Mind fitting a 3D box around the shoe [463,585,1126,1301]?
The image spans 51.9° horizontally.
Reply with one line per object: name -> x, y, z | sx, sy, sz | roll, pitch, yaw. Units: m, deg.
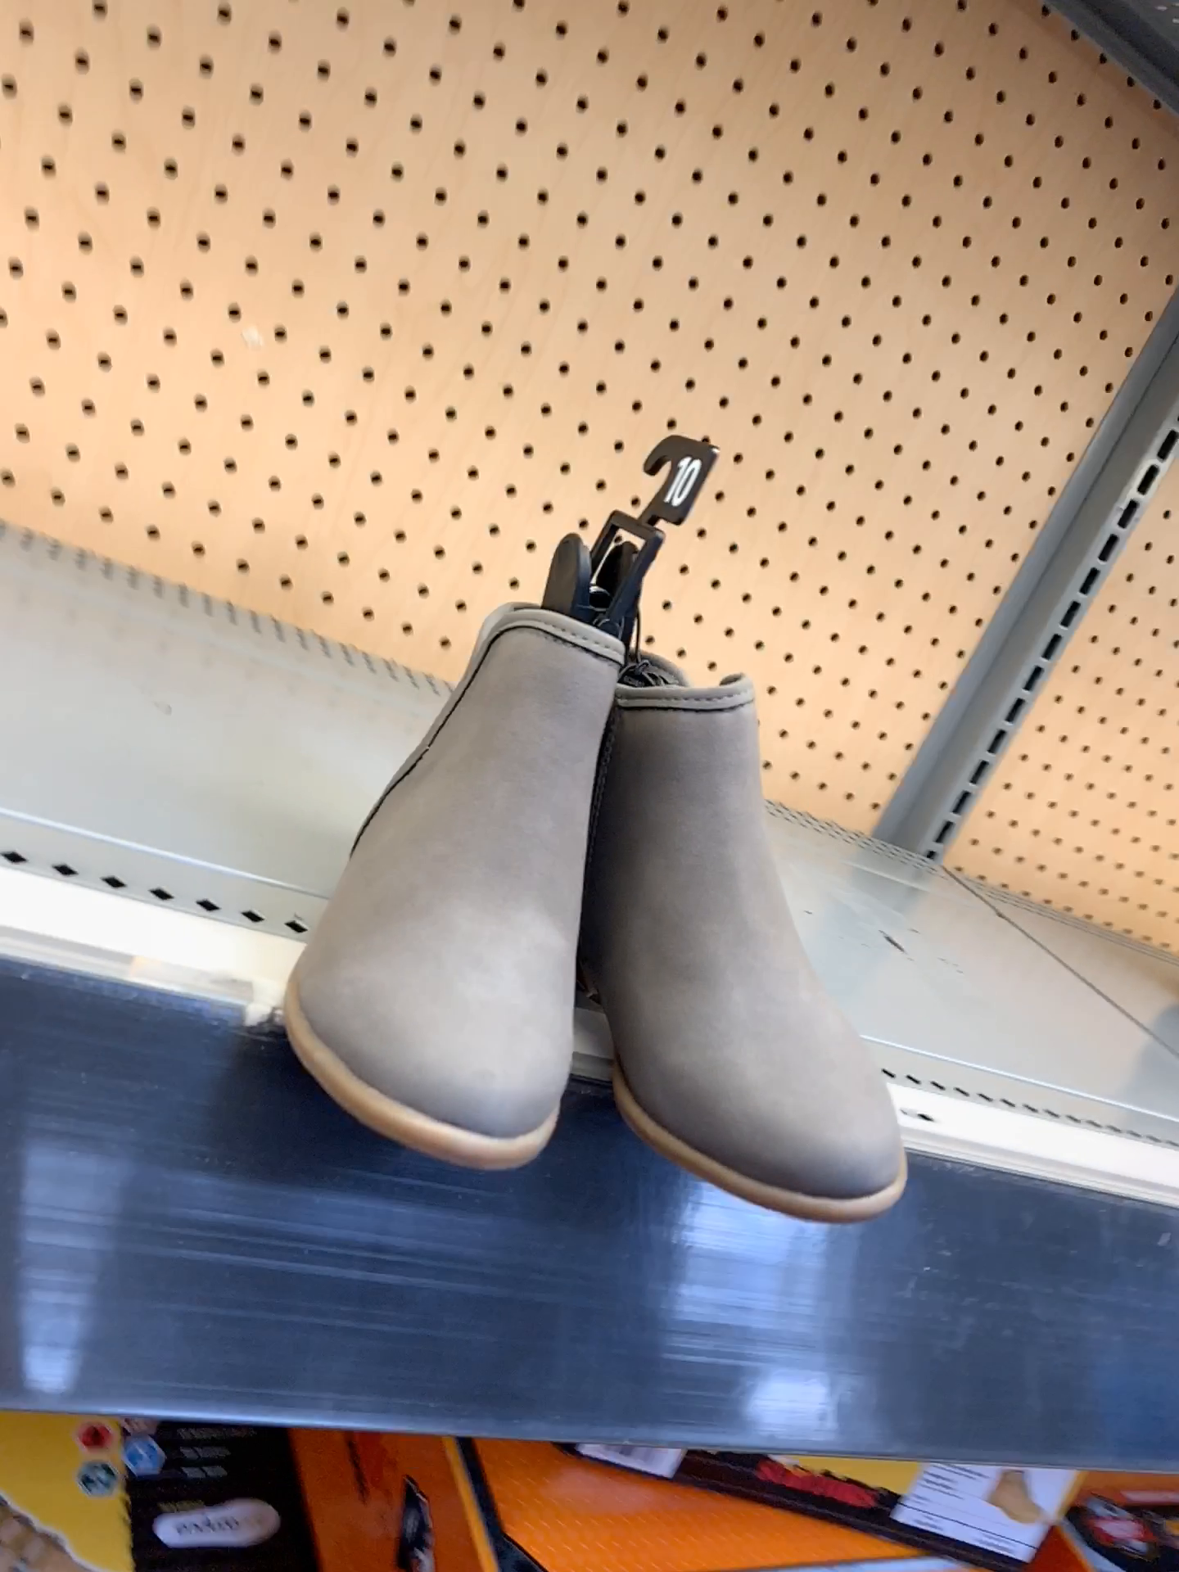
shoe -> 0.037, 0.026, 0.345 | 0.074, 0.113, 0.186 | 0, 24, -26

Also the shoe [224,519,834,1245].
shoe -> -0.024, 0.005, 0.327 | 0.087, 0.103, 0.197 | 19, 16, -13
